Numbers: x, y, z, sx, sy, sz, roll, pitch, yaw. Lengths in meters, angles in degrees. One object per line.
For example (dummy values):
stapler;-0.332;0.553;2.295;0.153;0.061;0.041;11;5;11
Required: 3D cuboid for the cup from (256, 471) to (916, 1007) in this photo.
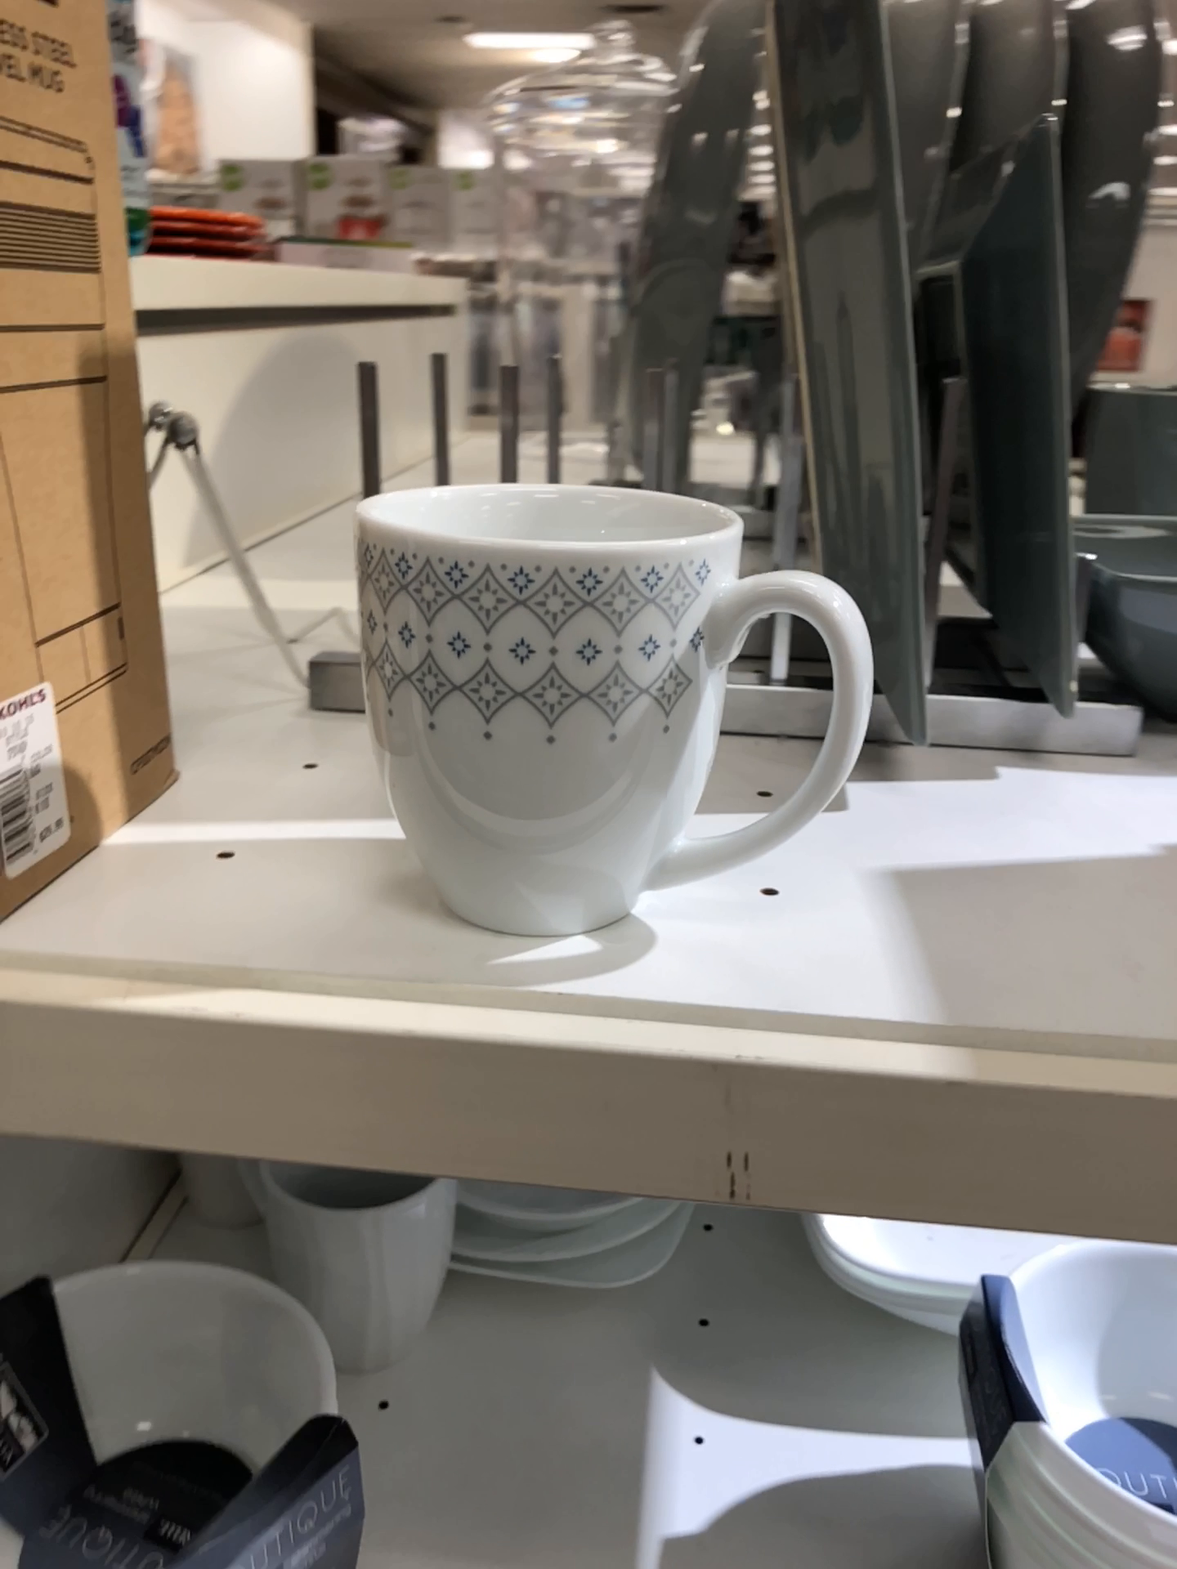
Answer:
cup;0.006;-0.021;0.337;0.136;0.099;0.099;6;22;18
